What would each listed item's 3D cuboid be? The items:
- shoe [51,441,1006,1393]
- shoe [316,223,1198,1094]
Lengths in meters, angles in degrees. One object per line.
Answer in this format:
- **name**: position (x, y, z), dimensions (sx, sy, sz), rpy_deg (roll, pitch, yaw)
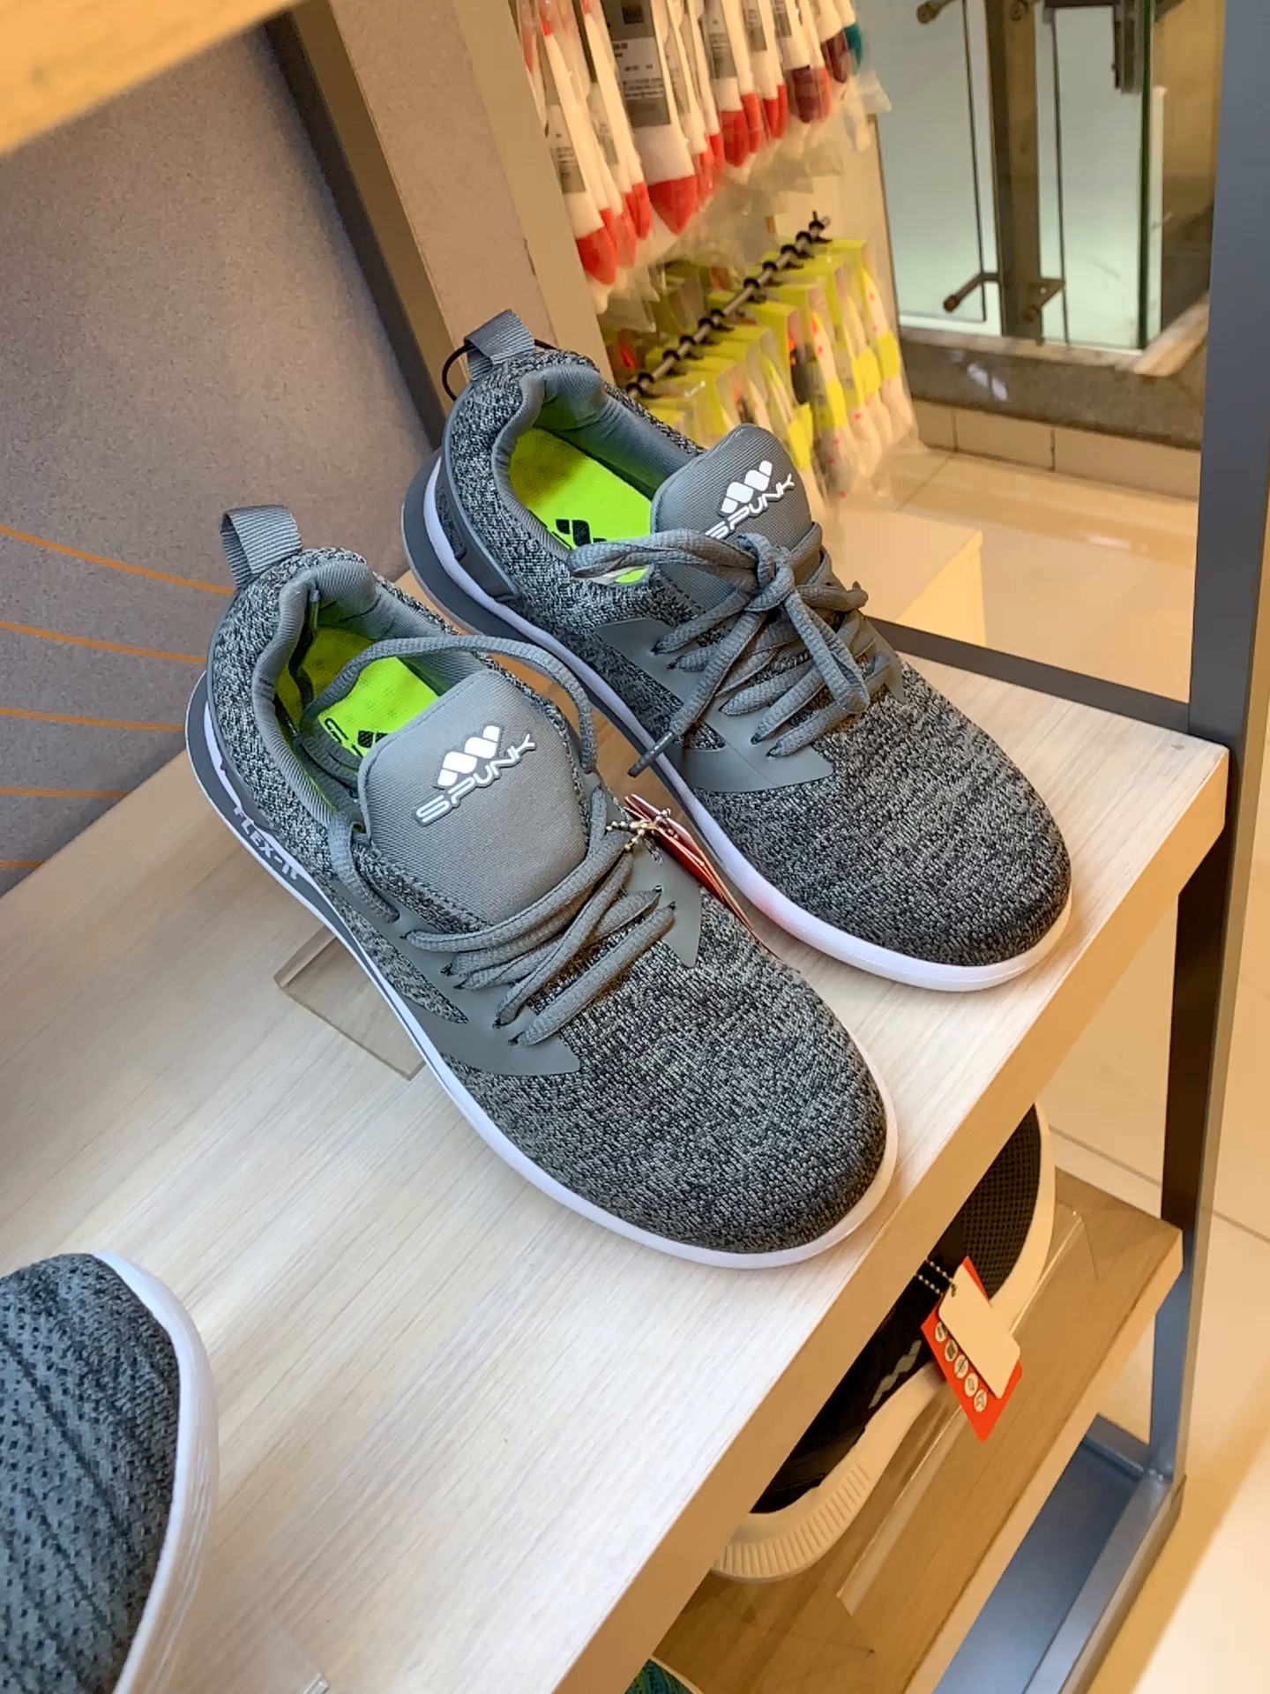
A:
- **shoe**: position (-0.033, 0.018, 0.341), dimensions (0.080, 0.080, 0.241), rpy_deg (-41, 80, -21)
- **shoe**: position (0.027, -0.052, 0.380), dimensions (0.240, 0.080, 0.090), rpy_deg (44, 64, 4)
